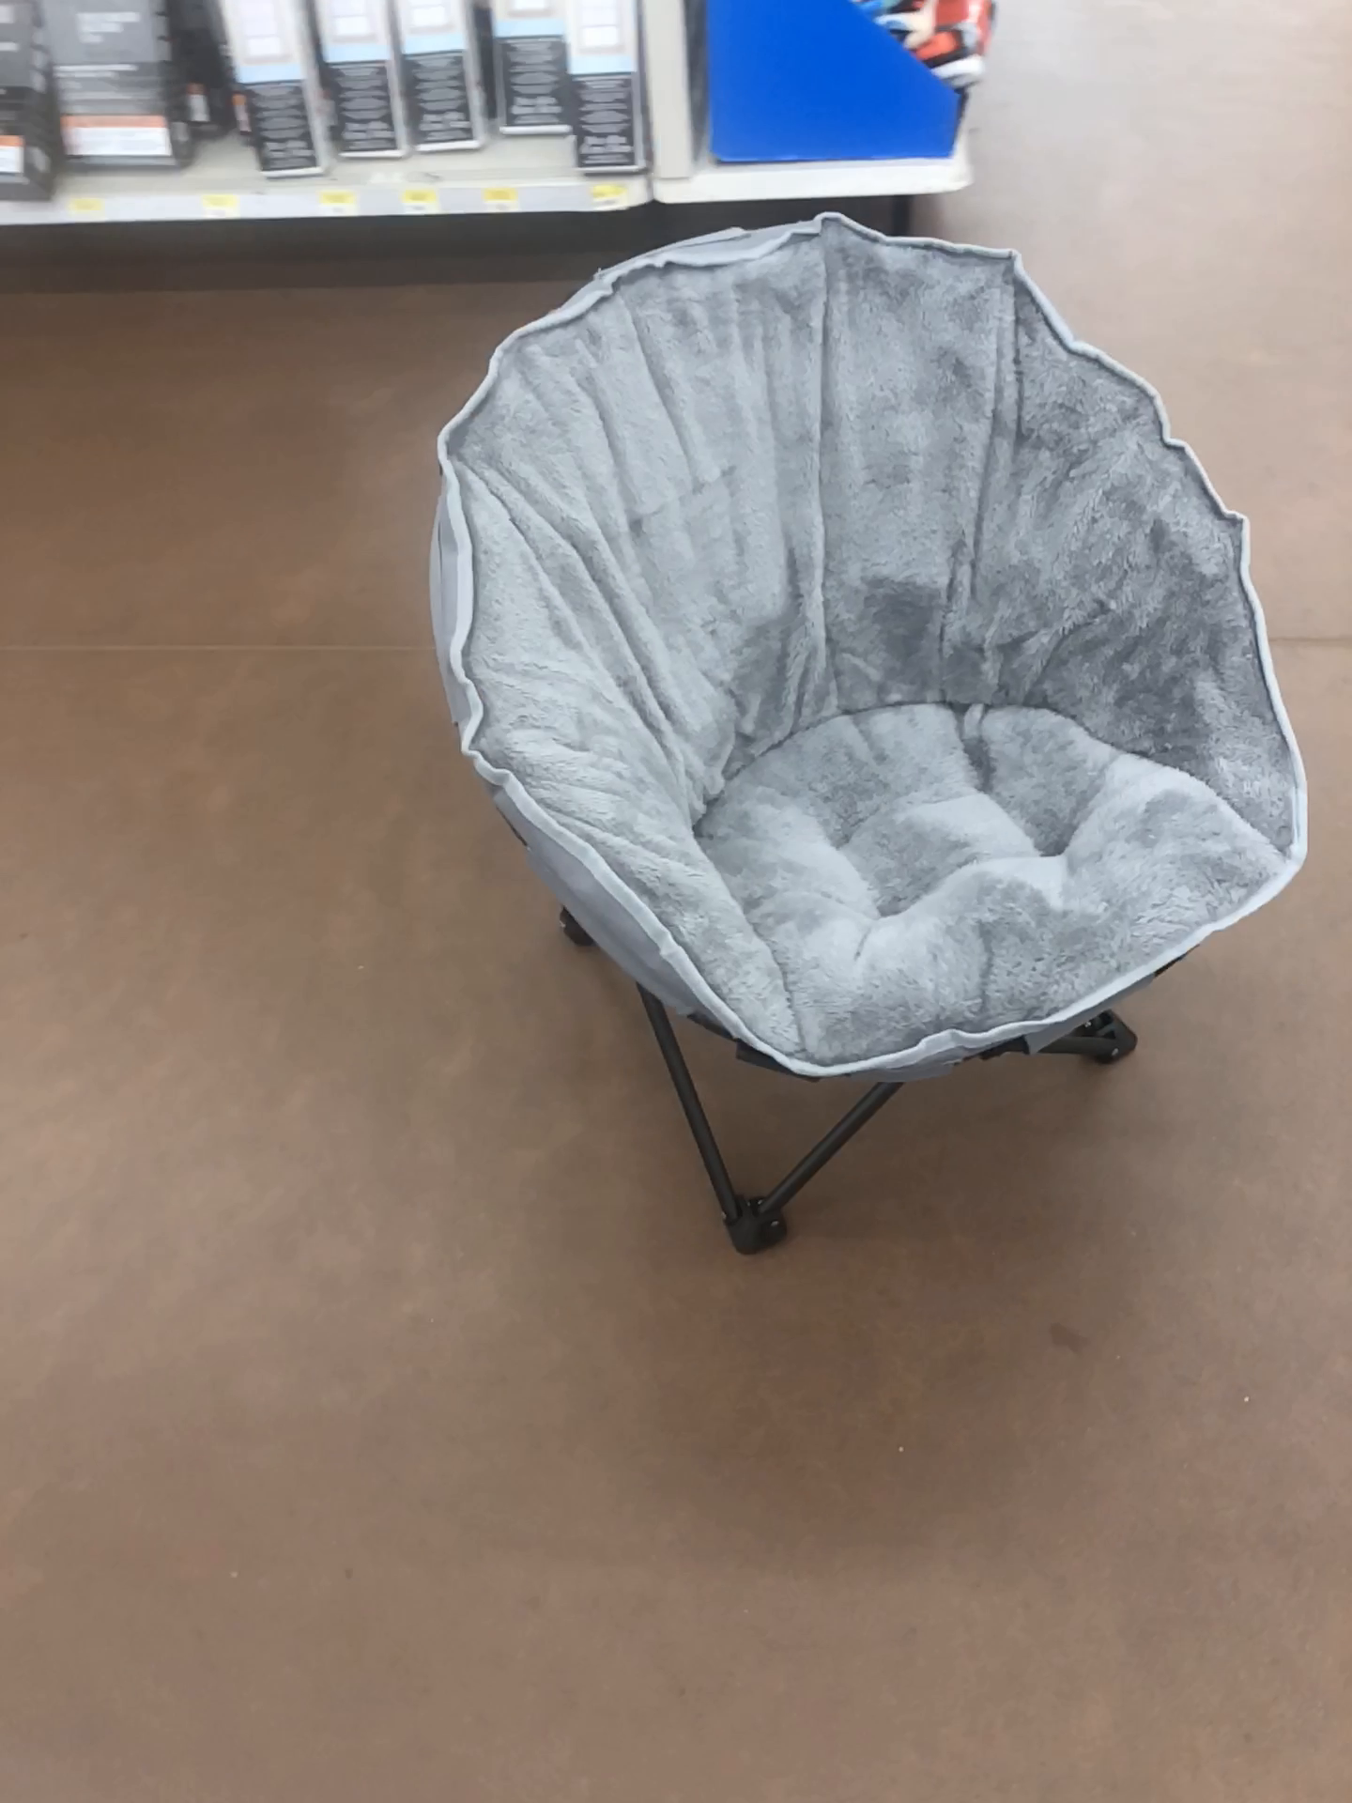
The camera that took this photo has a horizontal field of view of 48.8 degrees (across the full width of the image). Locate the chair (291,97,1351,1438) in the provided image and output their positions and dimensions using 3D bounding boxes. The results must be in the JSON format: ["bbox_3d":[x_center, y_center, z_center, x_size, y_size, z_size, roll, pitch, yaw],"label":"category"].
[{"bbox_3d":[0.162,-0.126,1.076,0.570,0.528,0.632,-25,52,-16],"label":"chair"}]
